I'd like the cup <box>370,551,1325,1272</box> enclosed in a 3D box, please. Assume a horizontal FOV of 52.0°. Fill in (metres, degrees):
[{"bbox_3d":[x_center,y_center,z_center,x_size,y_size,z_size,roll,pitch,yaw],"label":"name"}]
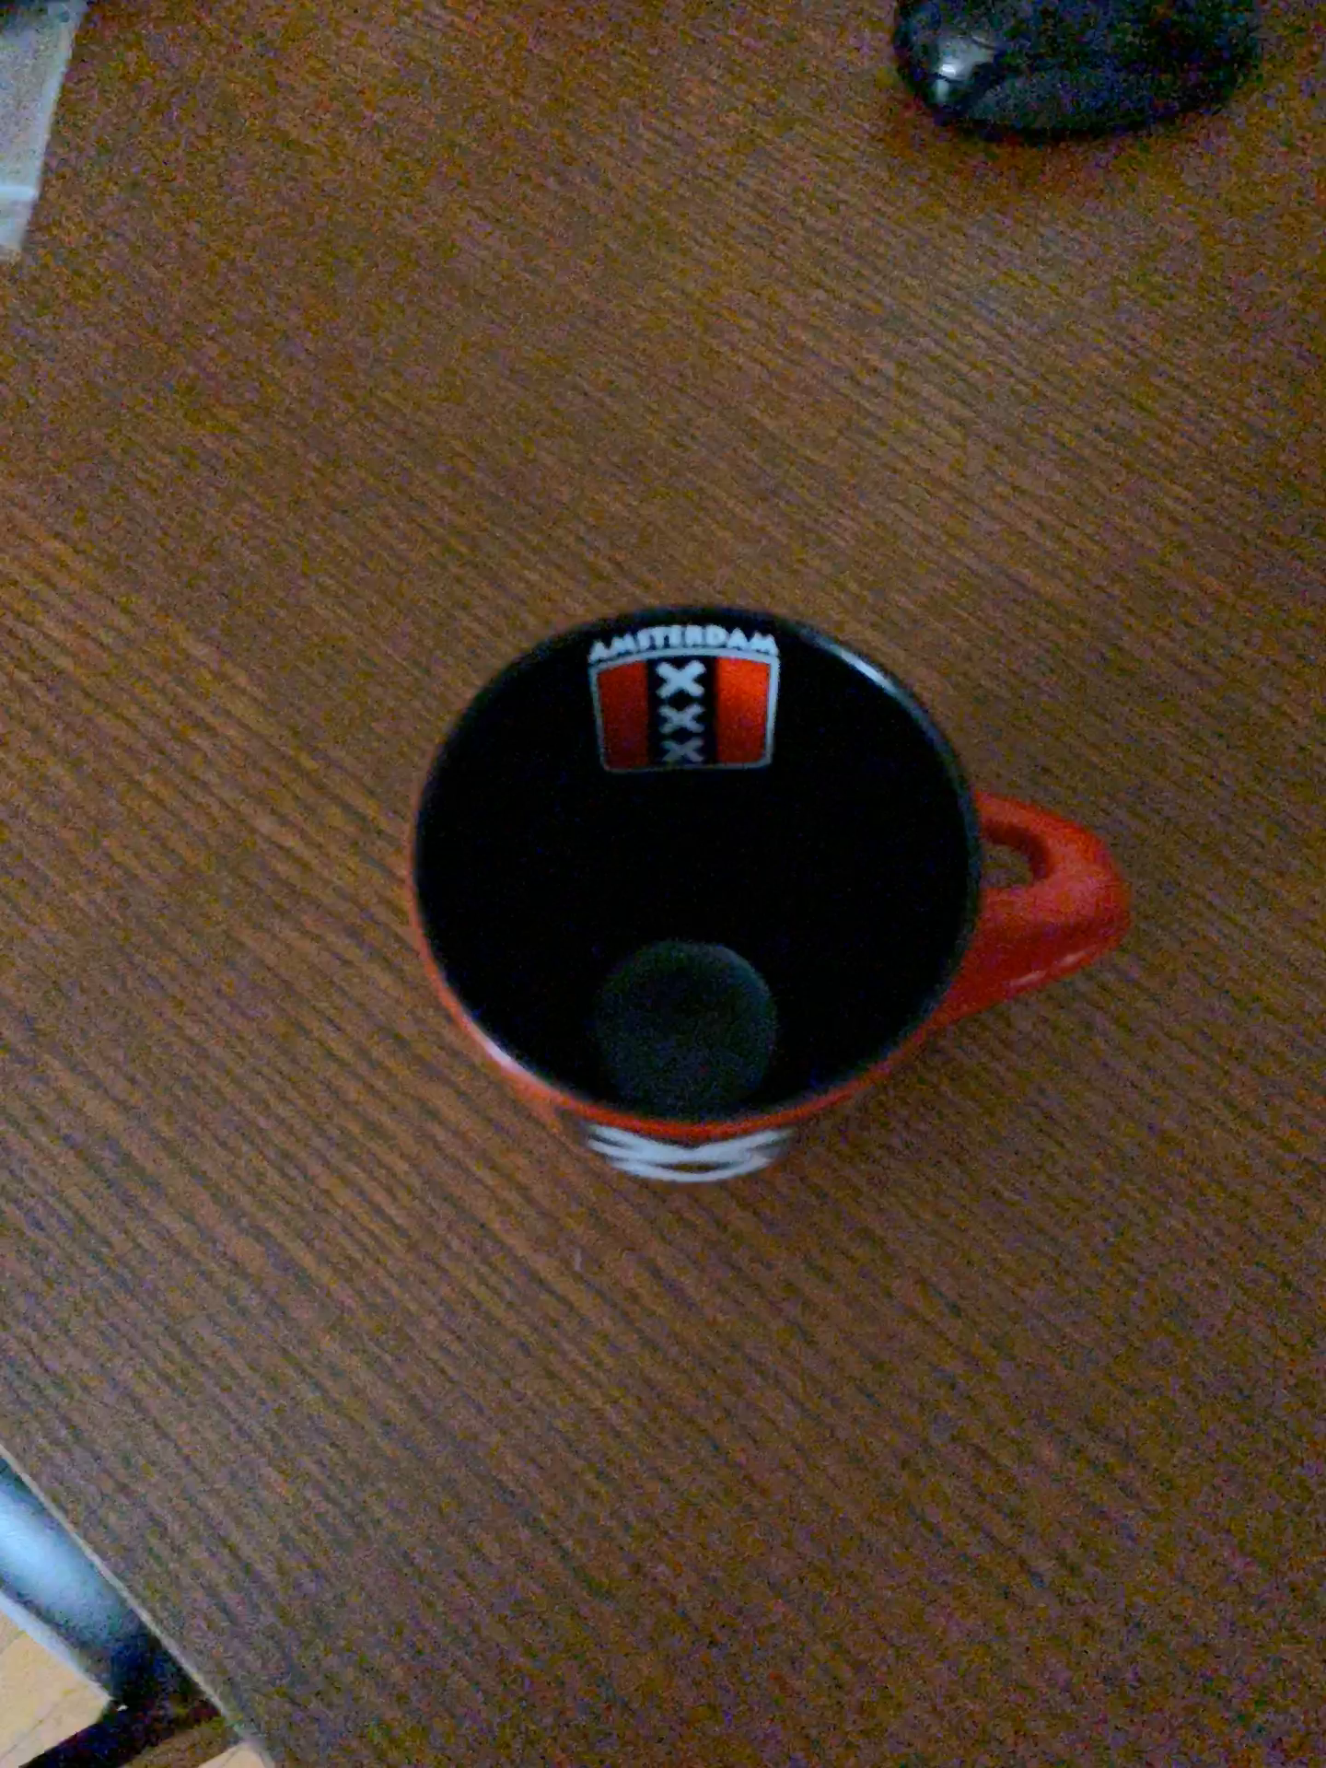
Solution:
[{"bbox_3d":[0.024,0.012,0.242,0.130,0.100,0.090,-3,67,-1],"label":"cup"}]
